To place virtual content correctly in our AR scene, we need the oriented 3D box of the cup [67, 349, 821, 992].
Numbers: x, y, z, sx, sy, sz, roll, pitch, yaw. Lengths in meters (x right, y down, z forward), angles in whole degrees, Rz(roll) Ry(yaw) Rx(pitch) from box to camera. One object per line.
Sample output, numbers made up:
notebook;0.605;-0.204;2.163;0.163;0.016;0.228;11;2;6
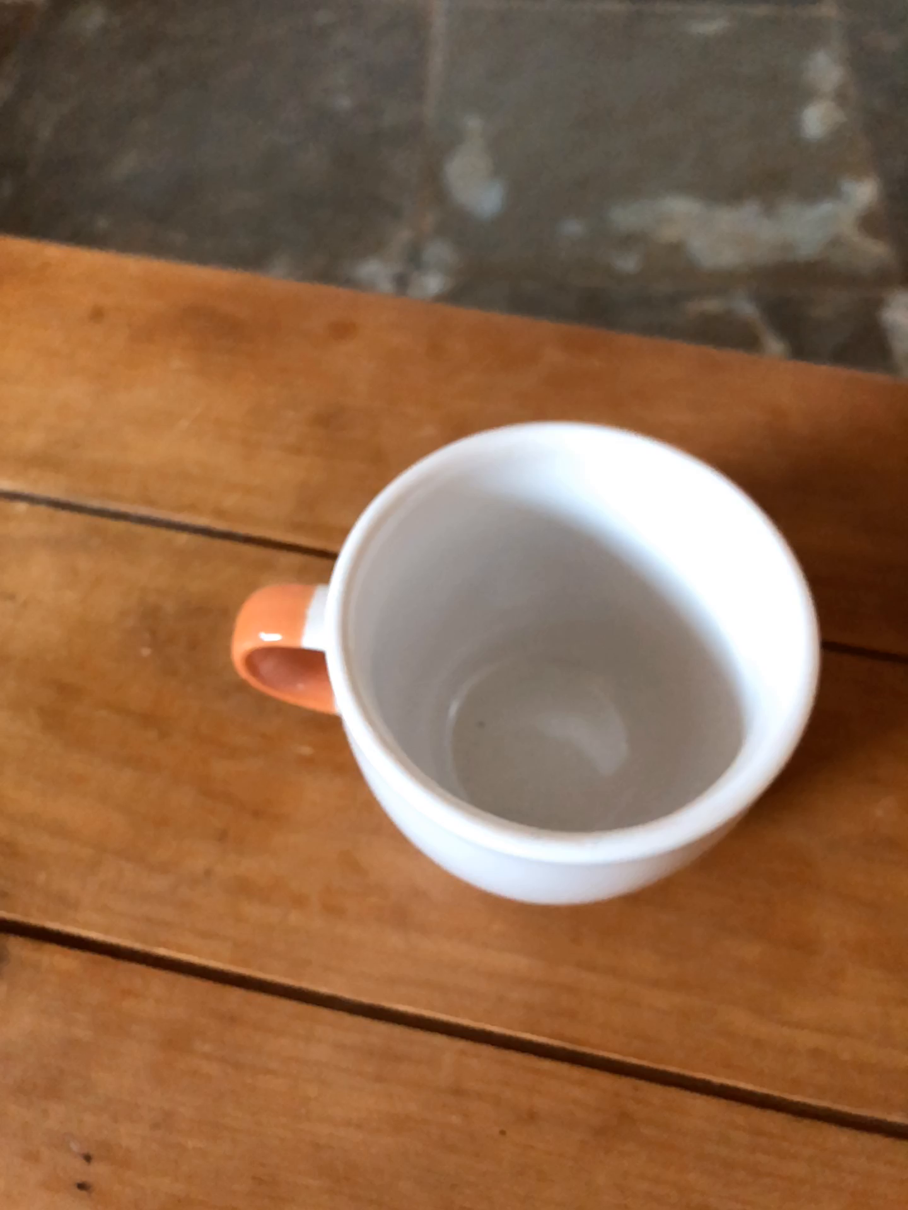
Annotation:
cup;0.004;0.012;0.197;0.110;0.060;0.090;8;60;5
